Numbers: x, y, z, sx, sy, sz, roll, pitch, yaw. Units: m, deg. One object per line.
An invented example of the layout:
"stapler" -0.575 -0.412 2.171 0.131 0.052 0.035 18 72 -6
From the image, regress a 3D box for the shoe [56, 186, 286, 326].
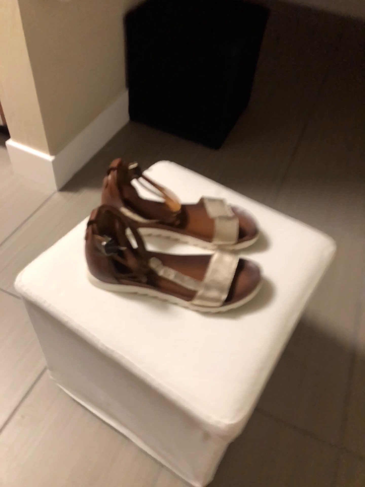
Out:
"shoe" -0.011 0.015 0.520 0.260 0.090 0.110 9 48 1

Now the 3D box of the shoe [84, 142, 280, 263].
"shoe" 0.002 -0.062 0.597 0.260 0.090 0.110 9 48 1
